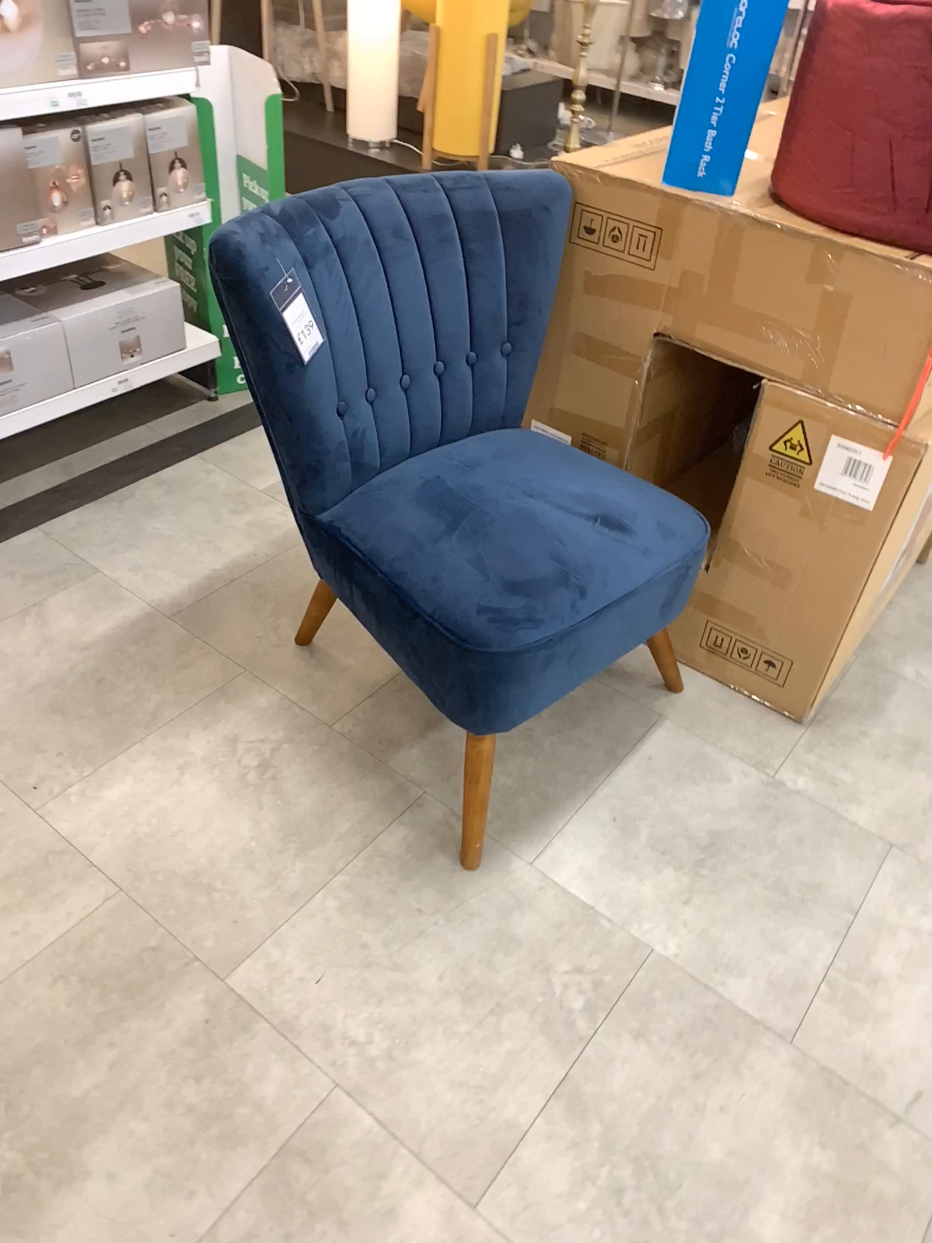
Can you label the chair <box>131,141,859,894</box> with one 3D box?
[{"bbox_3d":[0.018,-0.223,1.536,0.723,0.792,0.694,34,47,29],"label":"chair"}]
